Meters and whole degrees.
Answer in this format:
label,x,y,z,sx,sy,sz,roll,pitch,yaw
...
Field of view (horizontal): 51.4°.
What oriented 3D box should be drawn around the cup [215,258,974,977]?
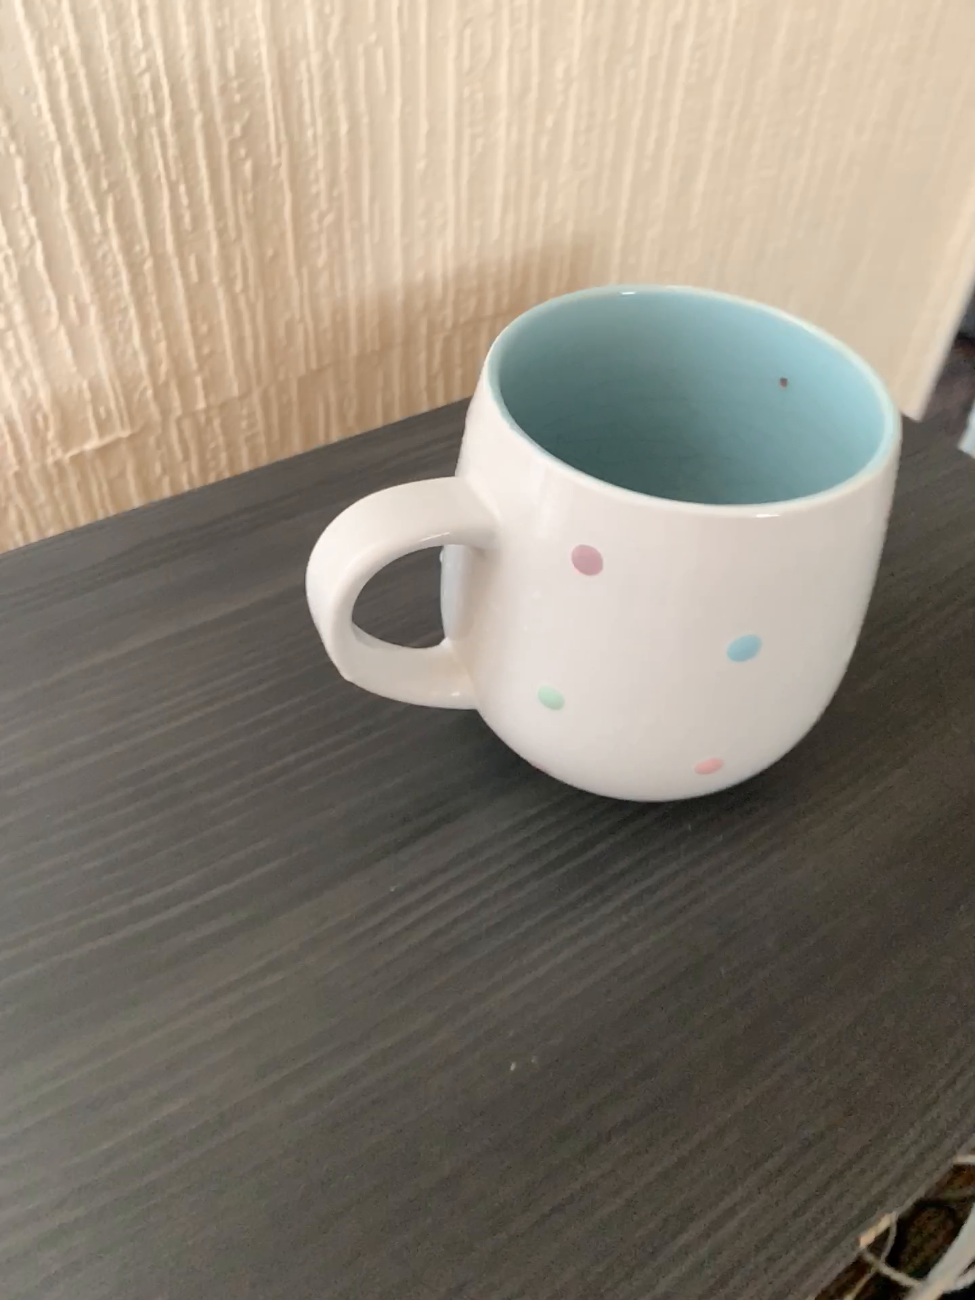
label,x,y,z,sx,sy,sz,roll,pitch,yaw
cup,0.018,-0.012,0.231,0.130,0.099,0.101,-12,48,-15
